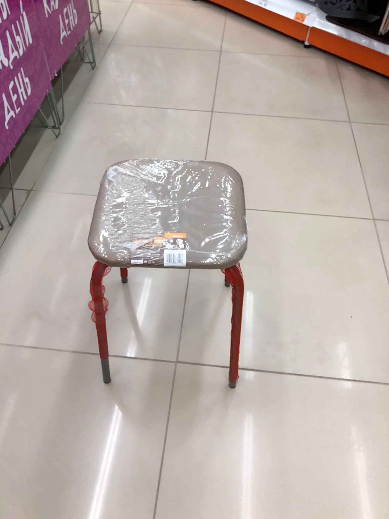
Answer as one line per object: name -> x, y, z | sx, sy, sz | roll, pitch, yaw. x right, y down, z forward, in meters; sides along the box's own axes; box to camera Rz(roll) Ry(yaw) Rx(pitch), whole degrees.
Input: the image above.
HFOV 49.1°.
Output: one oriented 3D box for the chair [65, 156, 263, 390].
chair -> -0.052, 0.046, 0.985 | 0.330, 0.437, 0.332 | 1, 49, 0
